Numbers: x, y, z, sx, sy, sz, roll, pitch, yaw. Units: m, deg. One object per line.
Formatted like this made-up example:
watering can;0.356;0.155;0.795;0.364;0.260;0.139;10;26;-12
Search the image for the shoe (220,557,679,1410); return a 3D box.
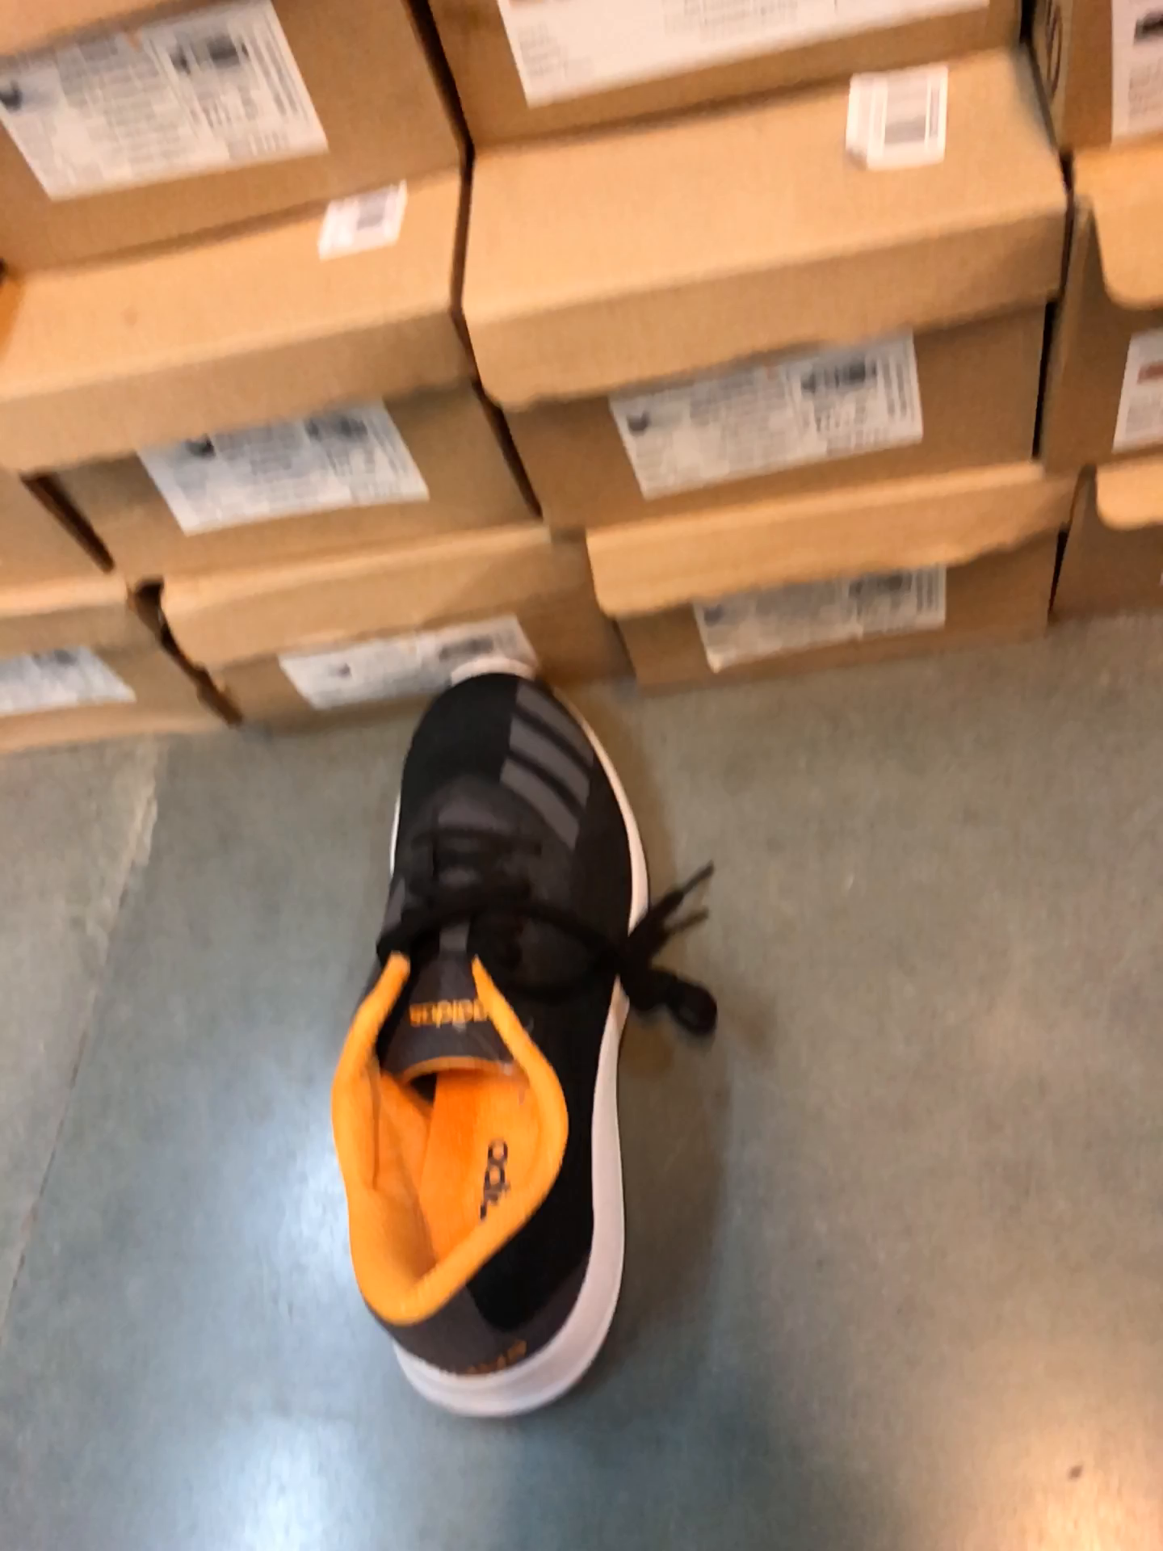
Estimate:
shoe;-0.035;0.073;0.463;0.109;0.117;0.271;-7;60;11
